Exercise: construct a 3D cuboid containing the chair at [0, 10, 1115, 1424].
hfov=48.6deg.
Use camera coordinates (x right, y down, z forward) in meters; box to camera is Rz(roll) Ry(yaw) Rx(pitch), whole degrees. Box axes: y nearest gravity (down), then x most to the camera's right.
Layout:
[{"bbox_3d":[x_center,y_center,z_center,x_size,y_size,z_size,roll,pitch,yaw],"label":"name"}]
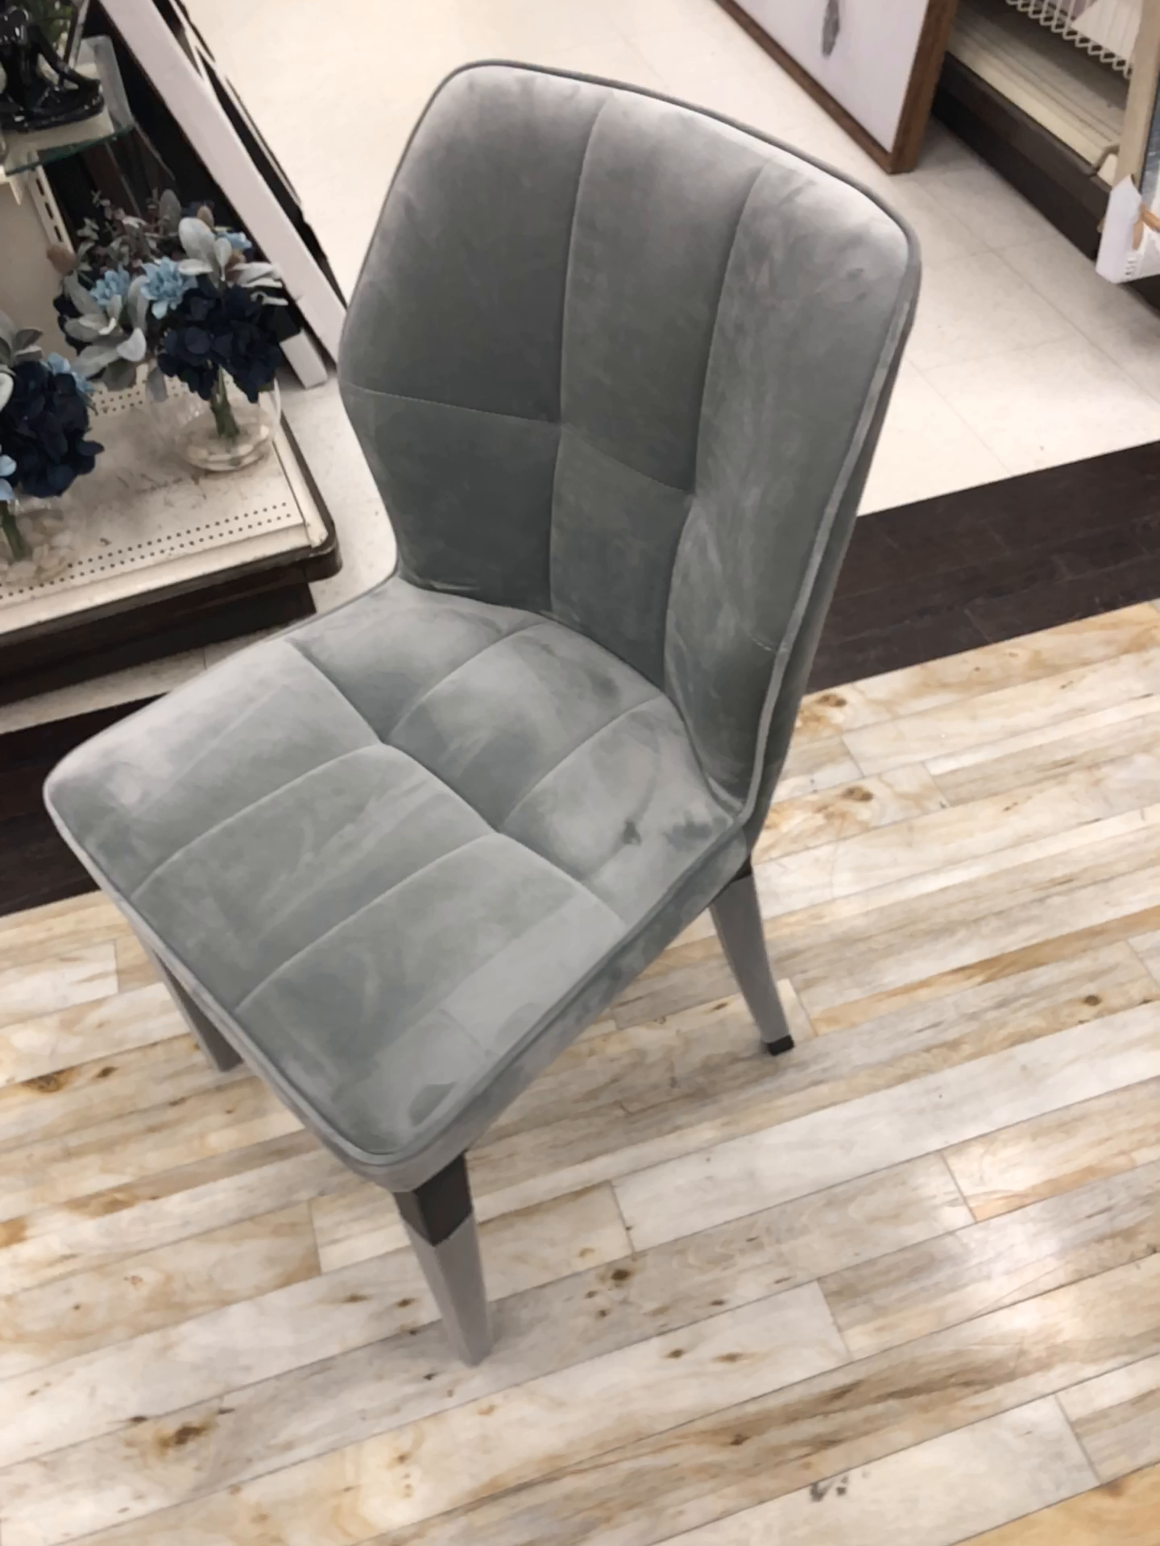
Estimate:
[{"bbox_3d":[-0.073,-0.008,1.037,0.571,0.837,0.531,-37,56,-24],"label":"chair"}]
